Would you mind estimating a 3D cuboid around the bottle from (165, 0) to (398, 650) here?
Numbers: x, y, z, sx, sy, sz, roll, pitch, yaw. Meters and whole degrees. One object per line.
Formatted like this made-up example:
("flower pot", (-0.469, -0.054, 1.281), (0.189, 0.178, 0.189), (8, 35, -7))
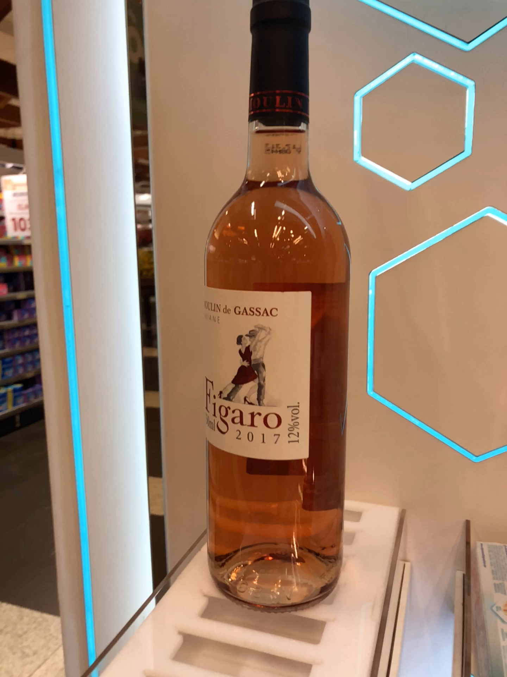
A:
("bottle", (0.015, -0.018, 0.309), (0.090, 0.319, 0.080), (6, 9, 38))
